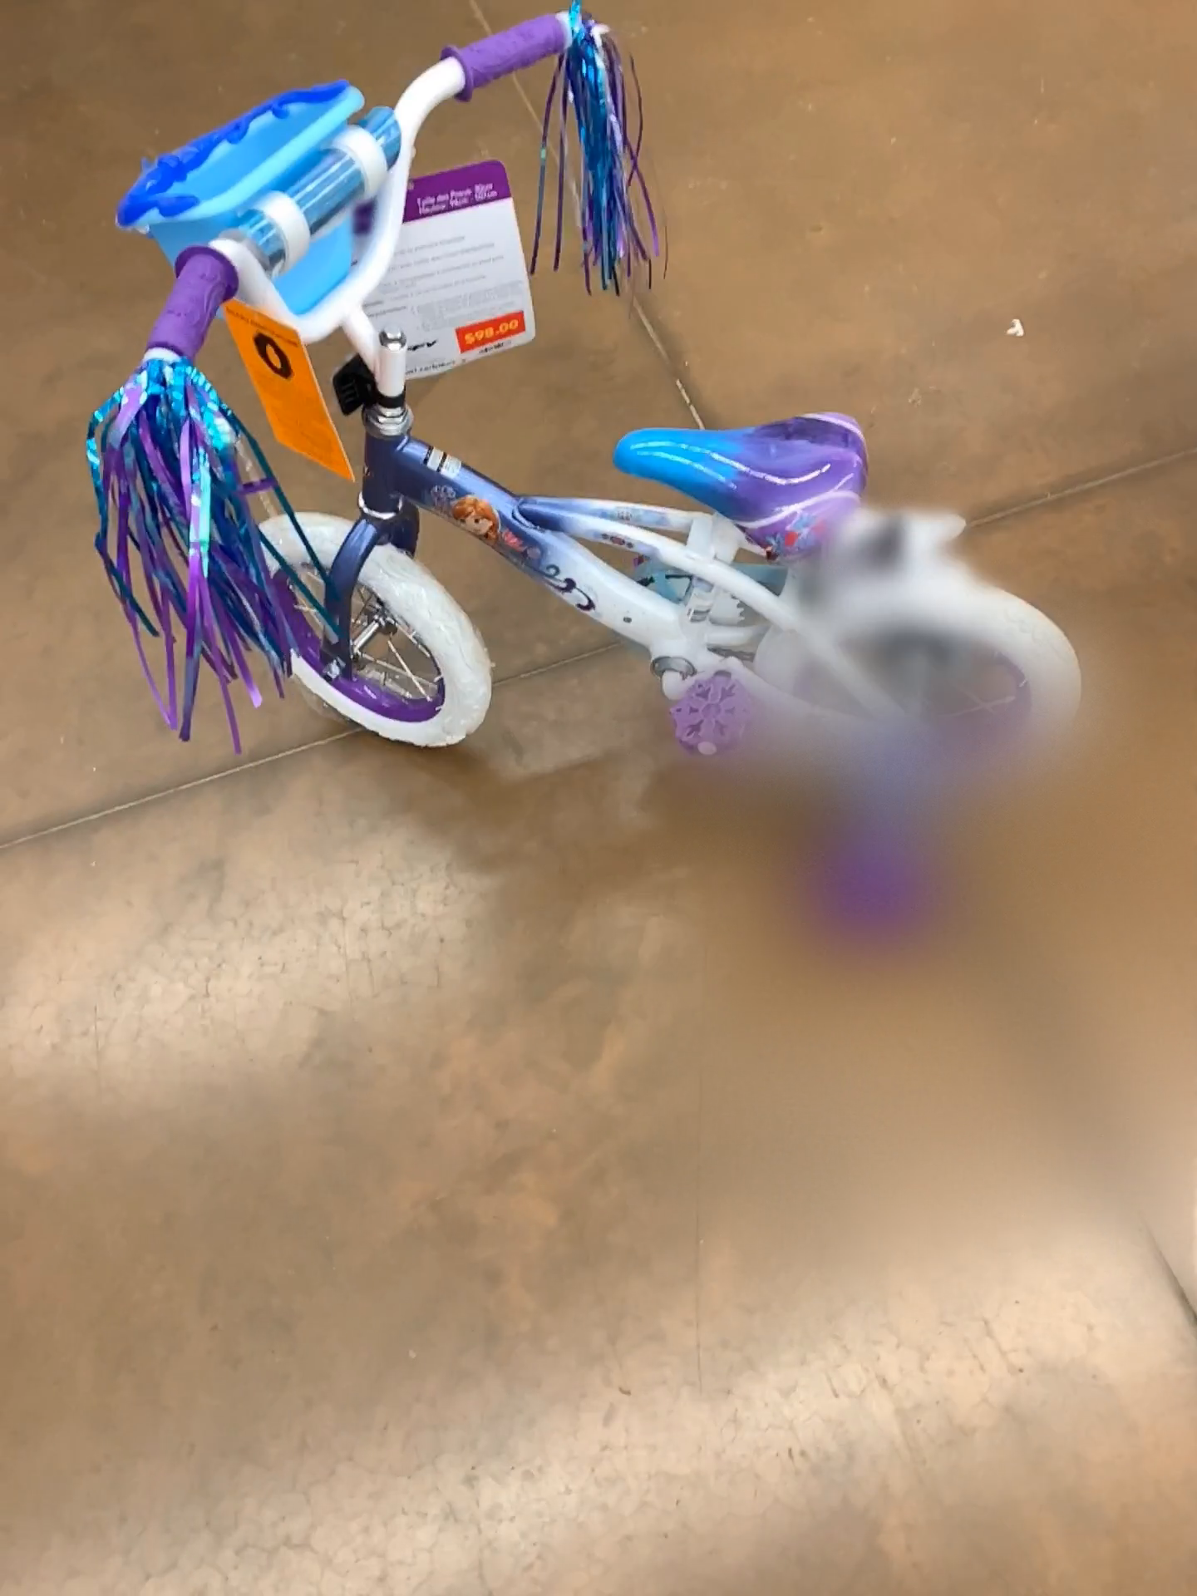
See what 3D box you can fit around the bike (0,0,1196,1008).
[{"bbox_3d":[0.007,-0.229,0.963,0.804,0.634,0.440,10,61,9],"label":"bike"}]
